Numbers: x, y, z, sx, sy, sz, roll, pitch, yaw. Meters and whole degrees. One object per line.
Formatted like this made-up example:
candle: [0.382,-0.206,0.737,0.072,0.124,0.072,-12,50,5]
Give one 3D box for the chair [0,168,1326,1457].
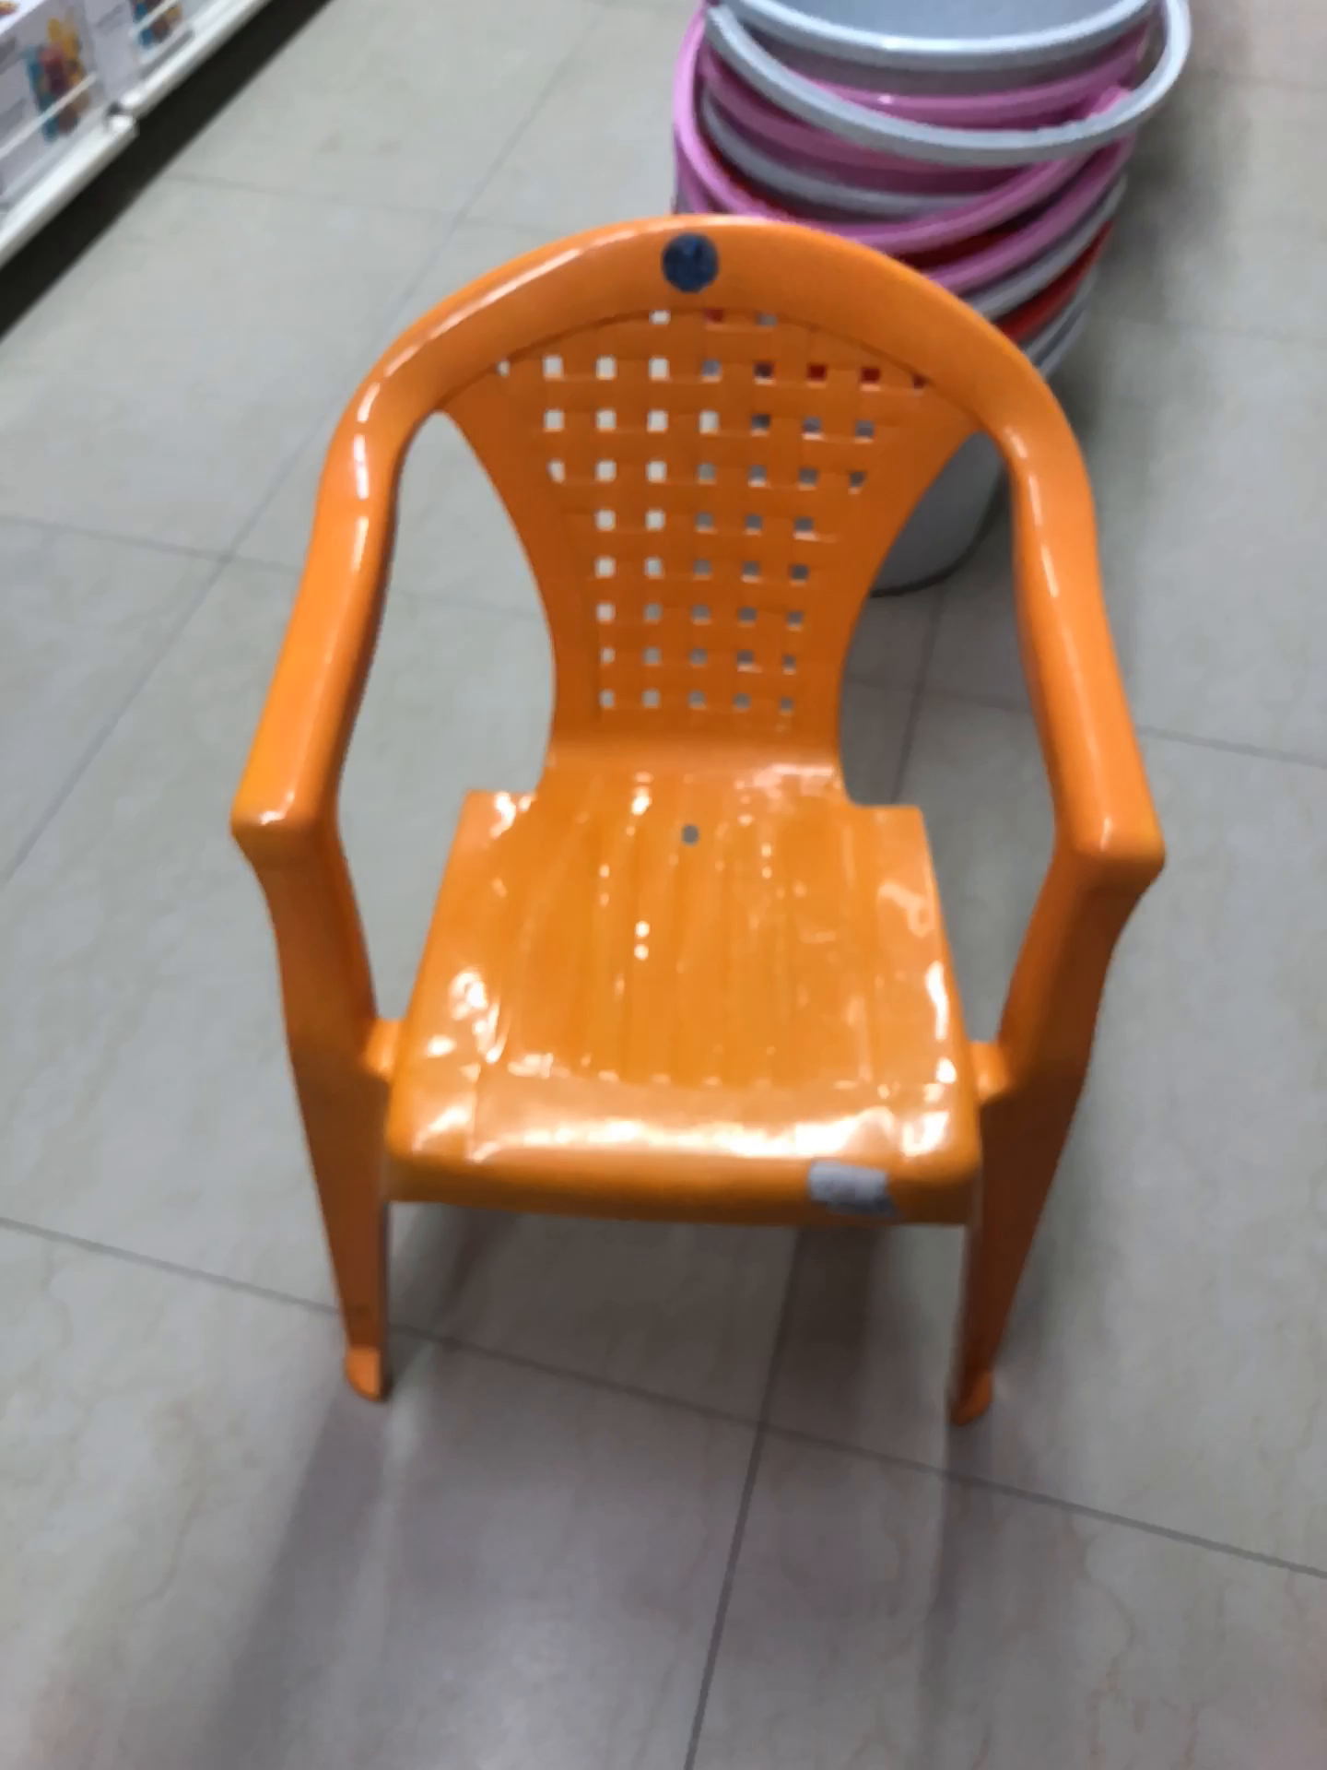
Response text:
chair: [0.011,-0.013,0.726,0.390,0.467,0.402,3,51,2]
